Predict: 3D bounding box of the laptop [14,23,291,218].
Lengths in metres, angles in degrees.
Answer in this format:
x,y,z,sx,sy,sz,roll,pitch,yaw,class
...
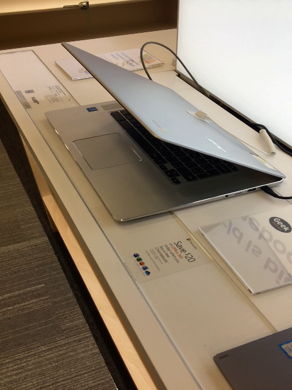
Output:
x,y,z,sx,sy,sz,roll,pitch,yaw,class
-0.001,-0.148,0.644,0.283,0.160,0.343,-18,47,-21,laptop
